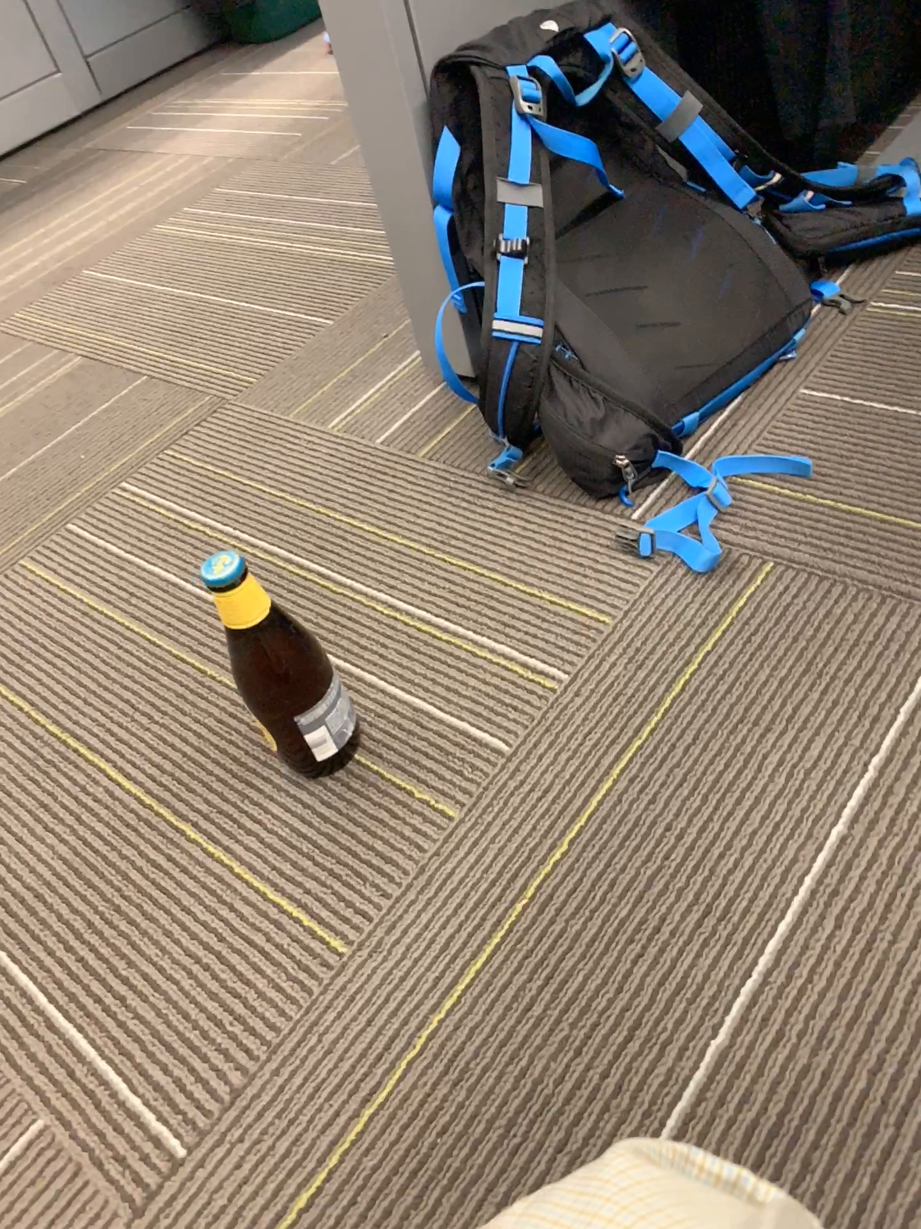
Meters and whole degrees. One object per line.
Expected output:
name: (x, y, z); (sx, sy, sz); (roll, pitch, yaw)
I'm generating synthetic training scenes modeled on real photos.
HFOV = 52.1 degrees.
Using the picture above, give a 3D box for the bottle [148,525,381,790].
bottle: (-0.124, 0.033, 0.637); (0.070, 0.179, 0.070); (-10, 44, 9)
